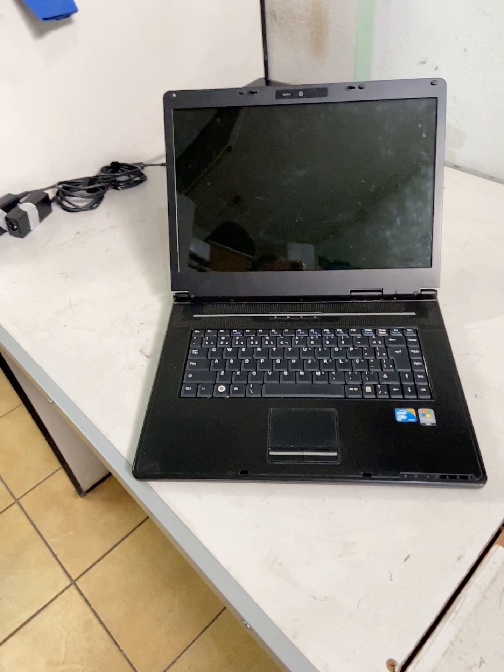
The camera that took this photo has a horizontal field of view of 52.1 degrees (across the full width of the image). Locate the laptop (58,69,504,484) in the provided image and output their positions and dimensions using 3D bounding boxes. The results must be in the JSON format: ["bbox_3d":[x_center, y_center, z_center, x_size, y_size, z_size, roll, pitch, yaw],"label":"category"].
[{"bbox_3d":[0.053,-0.093,0.590,0.351,0.224,0.432,0,47,6],"label":"laptop"}]
